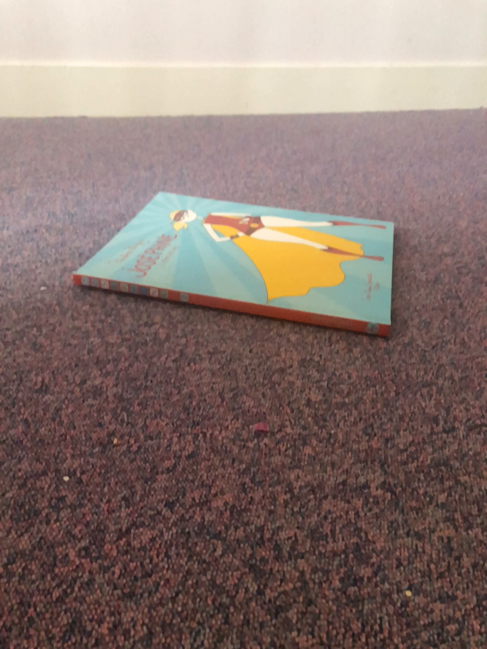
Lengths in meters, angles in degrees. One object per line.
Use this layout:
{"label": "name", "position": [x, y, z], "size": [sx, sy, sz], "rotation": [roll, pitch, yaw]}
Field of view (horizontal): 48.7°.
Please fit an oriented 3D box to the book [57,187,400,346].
{"label": "book", "position": [0.006, -0.078, 0.566], "size": [0.306, 0.020, 0.235], "rotation": [9, 35, 10]}
